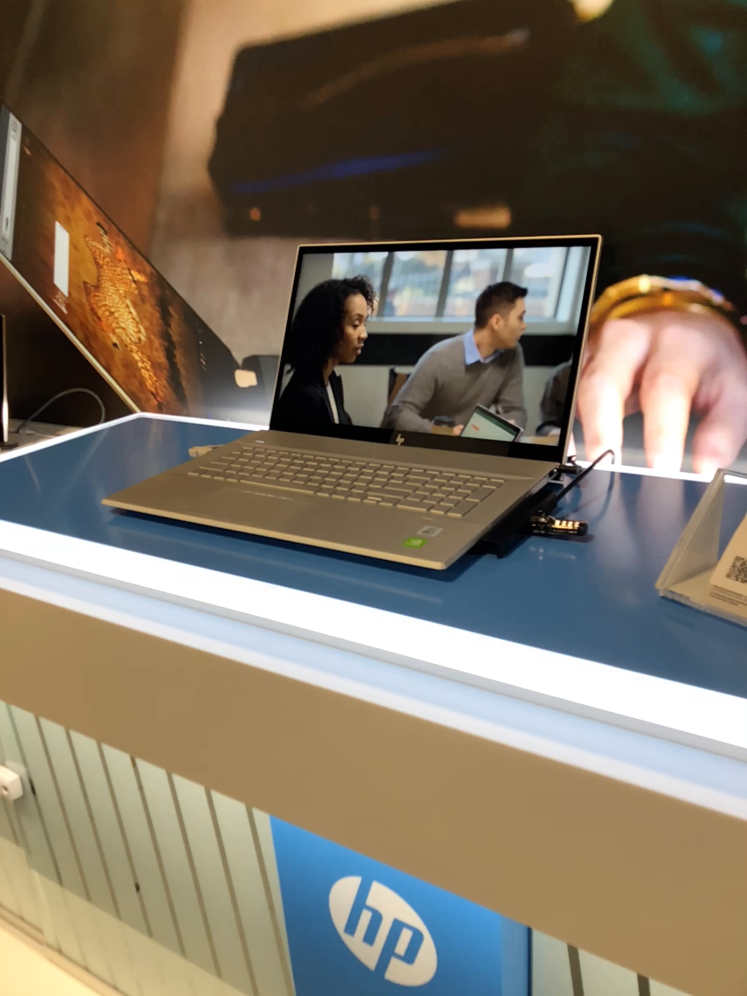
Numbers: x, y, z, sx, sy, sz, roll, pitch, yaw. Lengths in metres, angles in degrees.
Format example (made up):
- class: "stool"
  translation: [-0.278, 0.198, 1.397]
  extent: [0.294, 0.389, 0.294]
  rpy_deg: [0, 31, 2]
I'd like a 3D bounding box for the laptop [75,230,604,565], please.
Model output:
- class: "laptop"
  translation: [-0.016, -0.144, 0.866]
  extent: [0.401, 0.217, 0.384]
  rpy_deg: [9, 25, 32]
